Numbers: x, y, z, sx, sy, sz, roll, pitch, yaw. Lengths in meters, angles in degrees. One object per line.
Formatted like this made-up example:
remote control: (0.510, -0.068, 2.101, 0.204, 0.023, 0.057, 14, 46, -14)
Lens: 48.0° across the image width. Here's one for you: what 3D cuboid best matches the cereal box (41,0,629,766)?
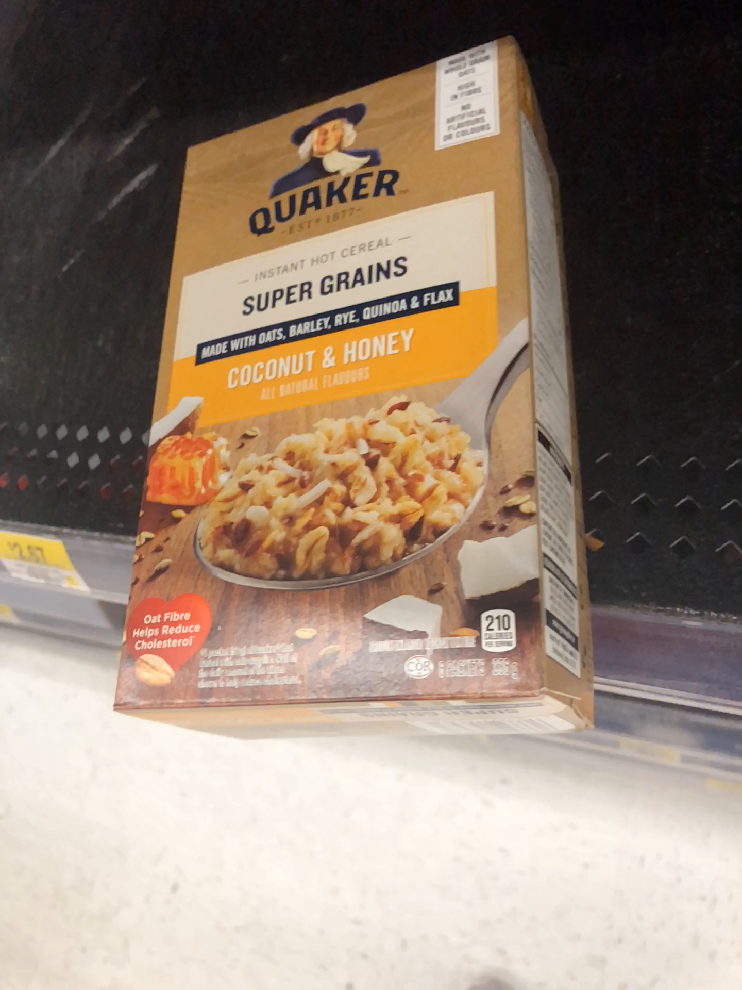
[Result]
cereal box: (-0.006, -0.039, 0.263, 0.140, 0.060, 0.230, -9, 64, 23)
